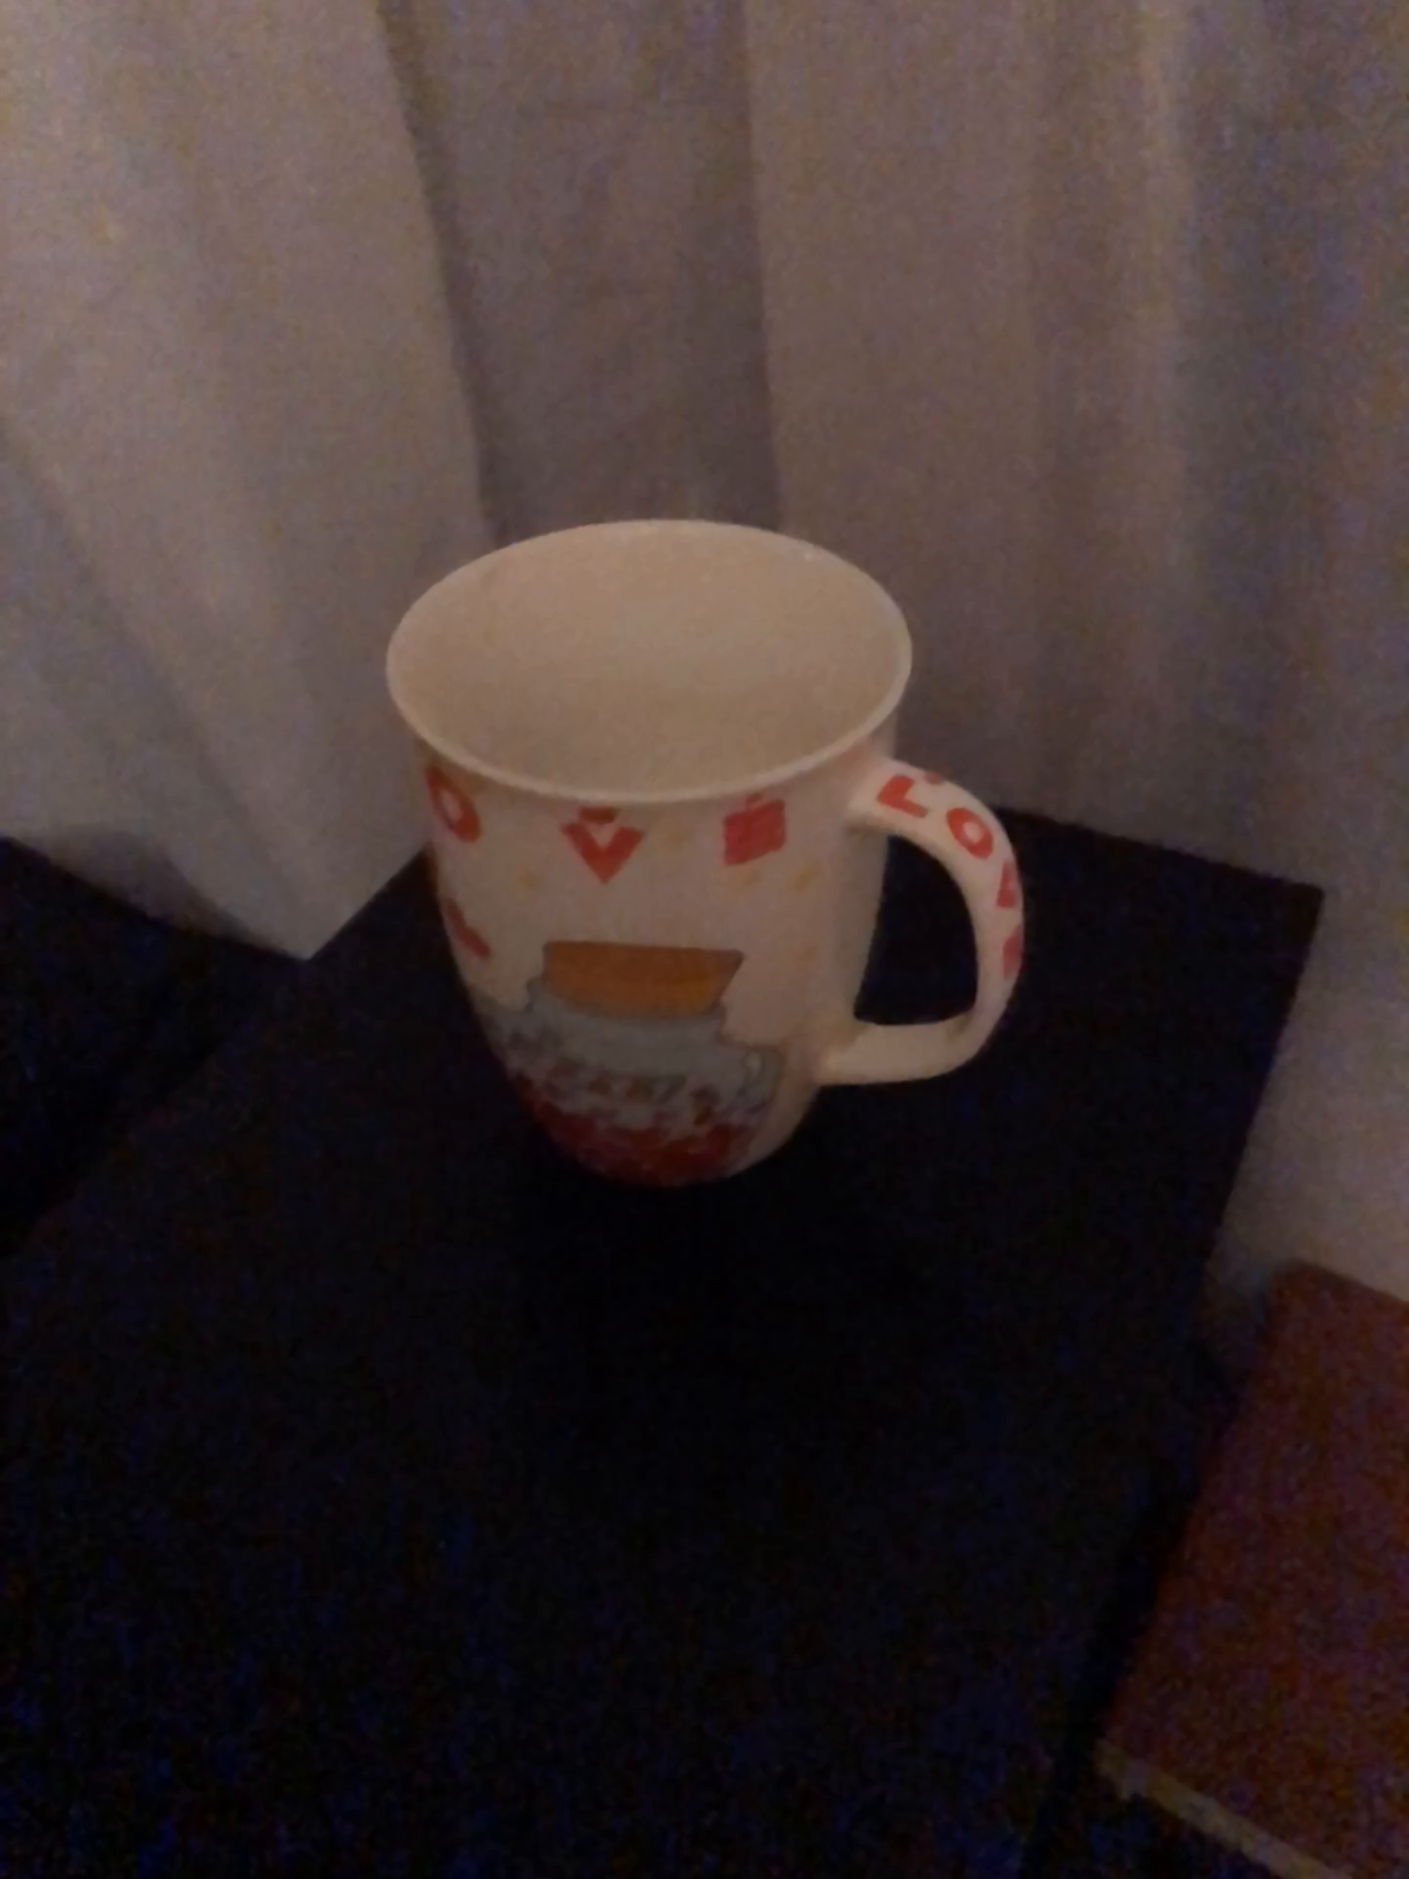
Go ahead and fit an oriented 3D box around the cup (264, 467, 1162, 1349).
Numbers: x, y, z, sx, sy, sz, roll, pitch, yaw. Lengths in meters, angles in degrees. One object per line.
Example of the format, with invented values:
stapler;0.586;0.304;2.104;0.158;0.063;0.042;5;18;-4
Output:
cup;0.005;-0.010;0.266;0.111;0.098;0.079;16;44;22
